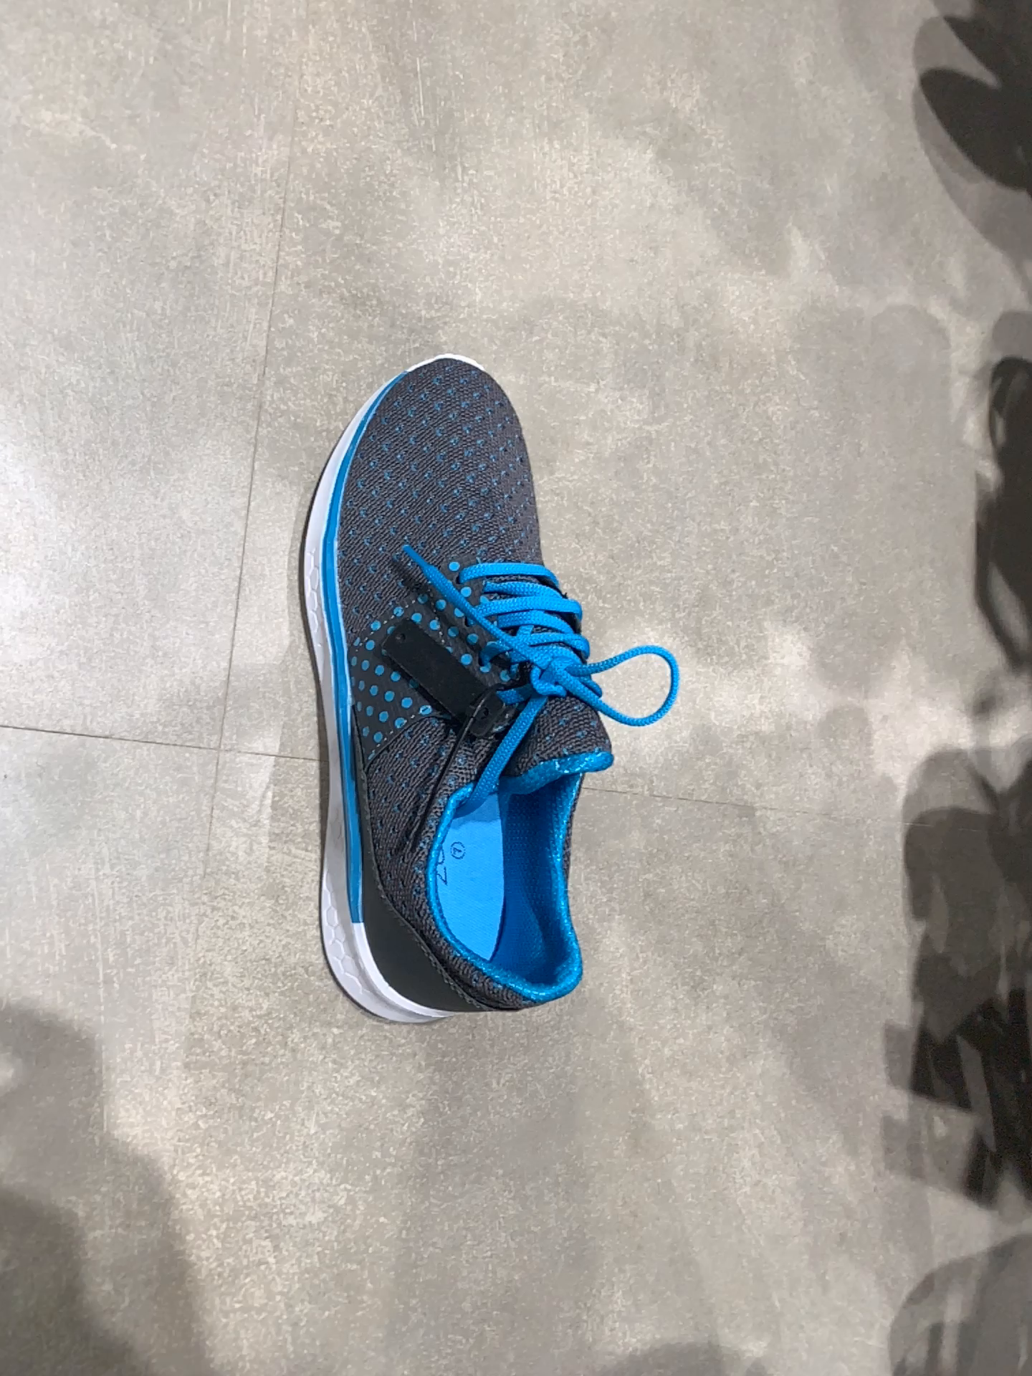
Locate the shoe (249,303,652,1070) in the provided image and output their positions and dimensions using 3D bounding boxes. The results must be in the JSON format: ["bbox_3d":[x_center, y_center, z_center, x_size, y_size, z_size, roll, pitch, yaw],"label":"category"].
[{"bbox_3d":[-0.028,0.001,0.382,0.103,0.101,0.227,0,85,-31],"label":"shoe"}]
